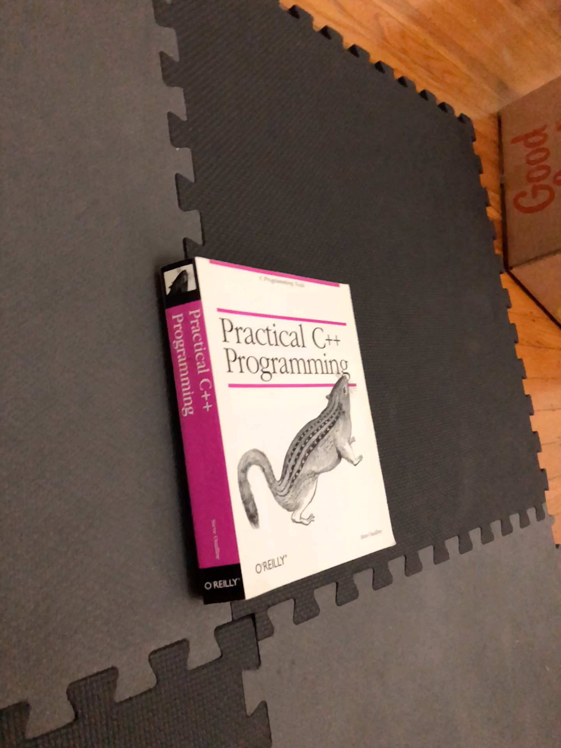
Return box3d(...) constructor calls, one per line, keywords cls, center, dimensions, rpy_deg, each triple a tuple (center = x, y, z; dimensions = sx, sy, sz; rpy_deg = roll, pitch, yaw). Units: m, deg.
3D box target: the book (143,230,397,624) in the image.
box3d(cls="book", center=(0.002, 0.035, 0.483), dimensions=(0.201, 0.050, 0.250), rpy_deg=(3, 76, -53))
